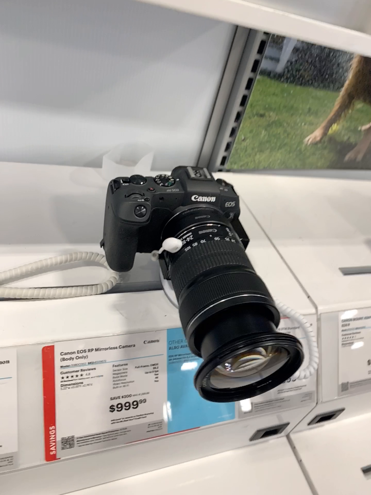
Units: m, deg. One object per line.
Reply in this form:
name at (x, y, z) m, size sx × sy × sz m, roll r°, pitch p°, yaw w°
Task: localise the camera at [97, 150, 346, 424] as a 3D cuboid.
camera at (0.005, 0.017, 0.325) m, size 0.132 × 0.099 × 0.200 m, roll 0°, pitch 42°, yaw -20°
